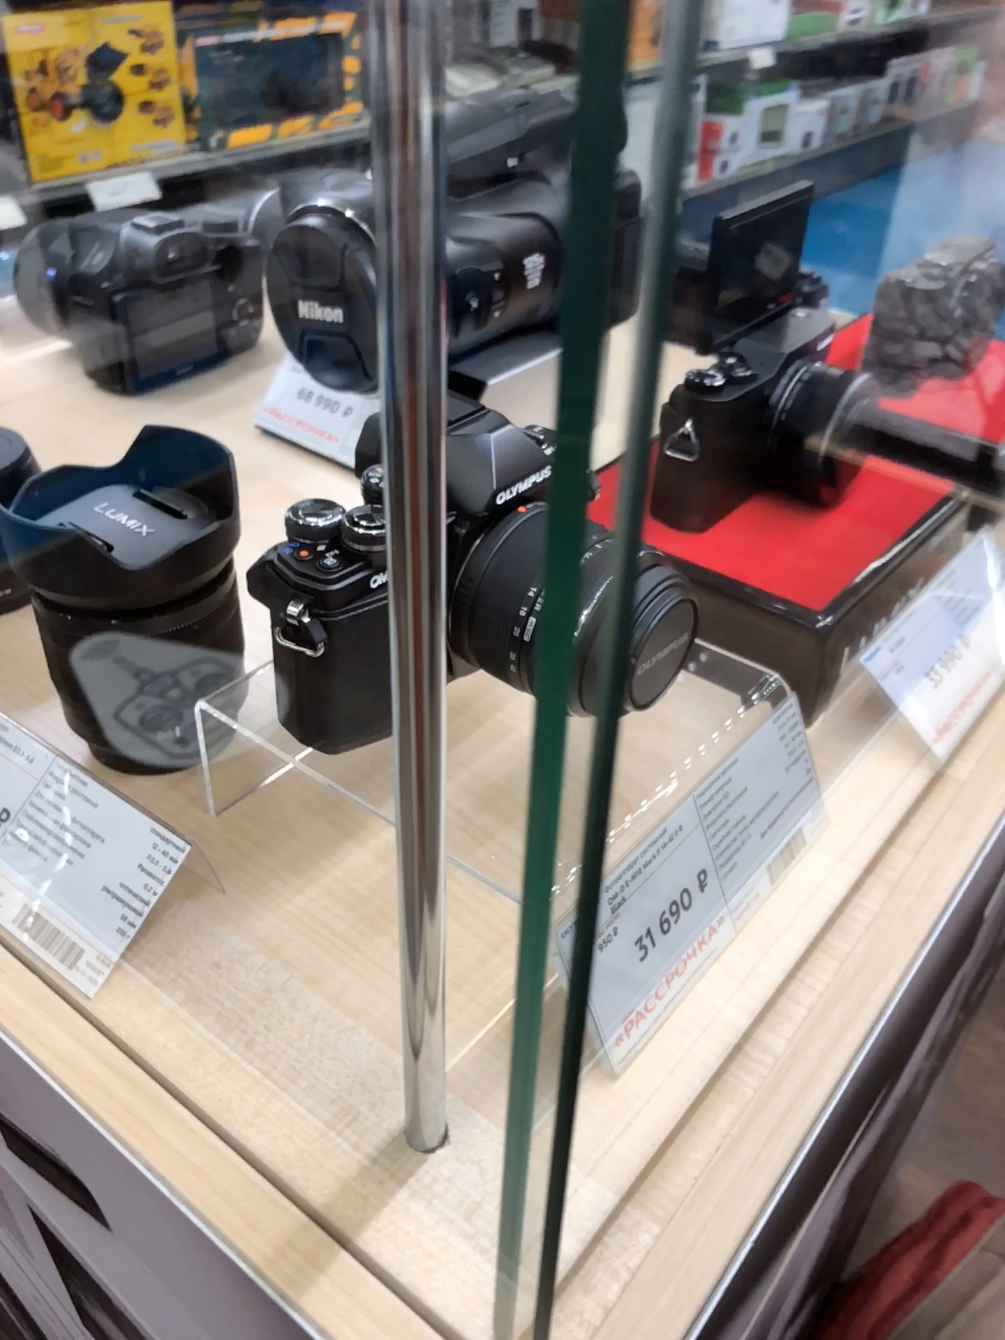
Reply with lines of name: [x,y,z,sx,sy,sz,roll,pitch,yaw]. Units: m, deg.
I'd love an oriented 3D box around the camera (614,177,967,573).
camera: [0.112,-0.121,0.441,0.072,0.109,0.118,26,42,30]

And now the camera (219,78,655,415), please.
camera: [-0.027,-0.220,0.560,0.104,0.109,0.186,30,44,33]

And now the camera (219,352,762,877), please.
camera: [-0.002,-0.026,0.340,0.101,0.088,0.118,26,42,30]
